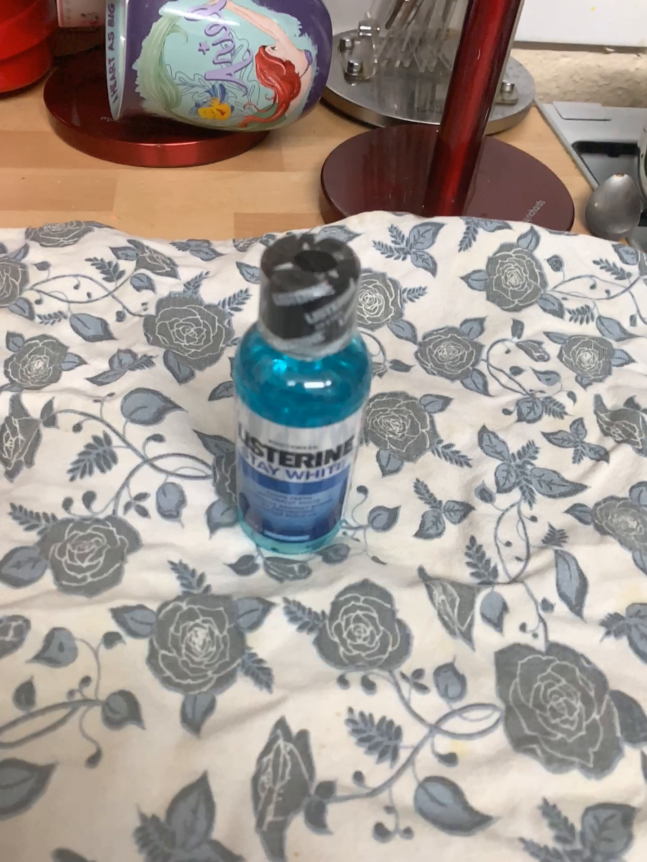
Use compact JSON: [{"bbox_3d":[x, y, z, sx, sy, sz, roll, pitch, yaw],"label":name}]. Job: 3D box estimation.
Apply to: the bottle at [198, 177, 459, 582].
[{"bbox_3d":[-0.001,-0.009,0.204,0.050,0.109,0.050,3,50,-4],"label":"bottle"}]
